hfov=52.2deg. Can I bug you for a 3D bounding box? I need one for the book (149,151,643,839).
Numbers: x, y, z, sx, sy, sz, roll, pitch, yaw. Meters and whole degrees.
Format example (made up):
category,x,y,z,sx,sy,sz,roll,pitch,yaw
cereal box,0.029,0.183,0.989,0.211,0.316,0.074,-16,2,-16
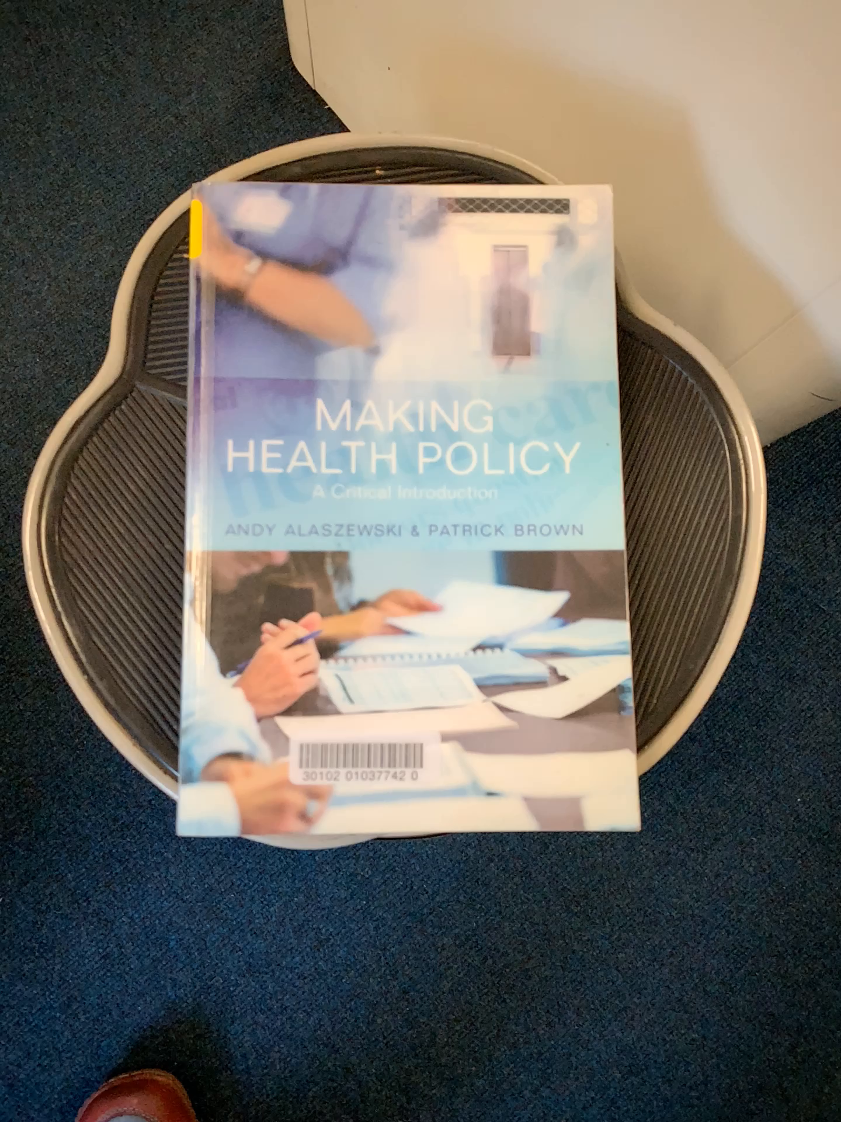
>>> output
category,x,y,z,sx,sy,sz,roll,pitch,yaw
book,-0.009,-0.028,0.311,0.160,0.030,0.240,0,81,-2
